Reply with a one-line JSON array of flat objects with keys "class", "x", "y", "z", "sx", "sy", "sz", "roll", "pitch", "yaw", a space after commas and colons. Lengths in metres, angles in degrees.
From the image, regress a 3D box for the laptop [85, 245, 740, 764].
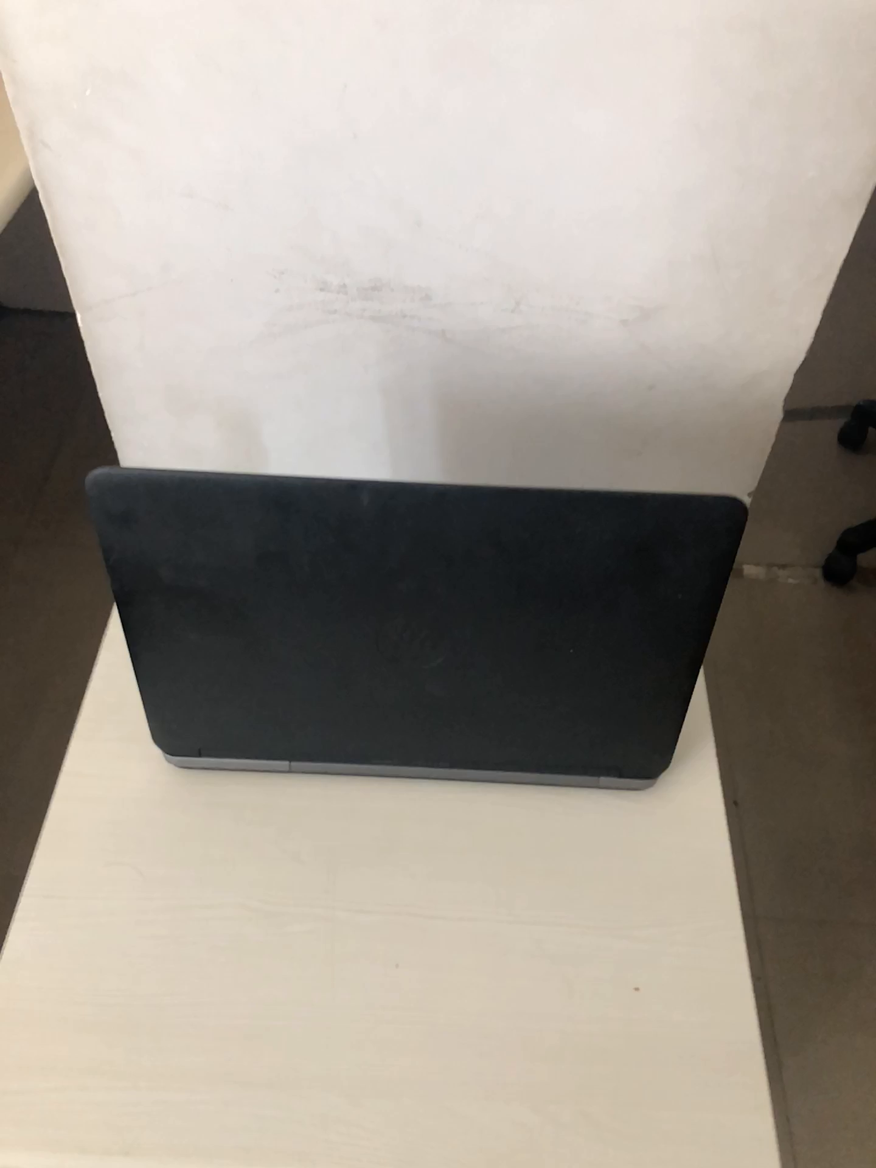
[{"class": "laptop", "x": -0.009, "y": -0.043, "z": 0.615, "sx": 0.317, "sy": 0.226, "sz": 0.205, "roll": 3, "pitch": 52, "yaw": 0}]
